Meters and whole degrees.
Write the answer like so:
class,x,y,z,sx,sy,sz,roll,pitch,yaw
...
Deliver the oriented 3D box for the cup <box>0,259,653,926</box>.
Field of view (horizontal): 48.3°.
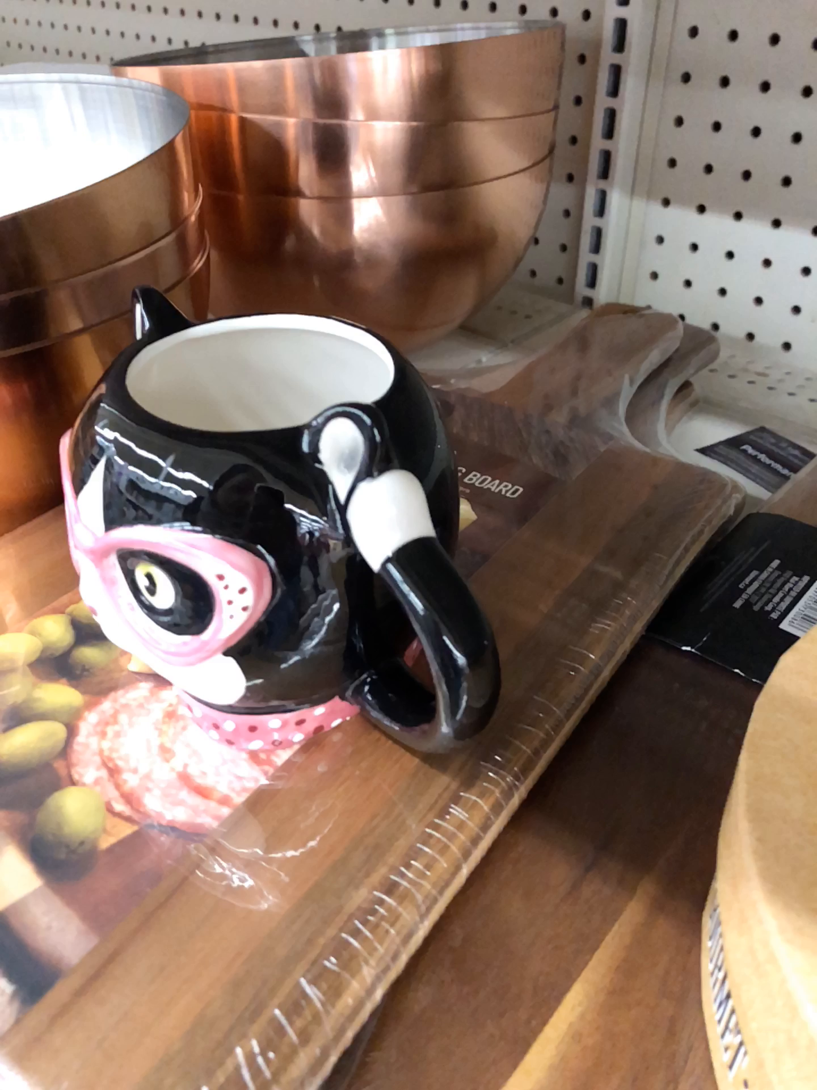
class,x,y,z,sx,sy,sz,roll,pitch,yaw
cup,-0.031,-0.005,0.227,0.080,0.080,0.150,-27,43,-32
